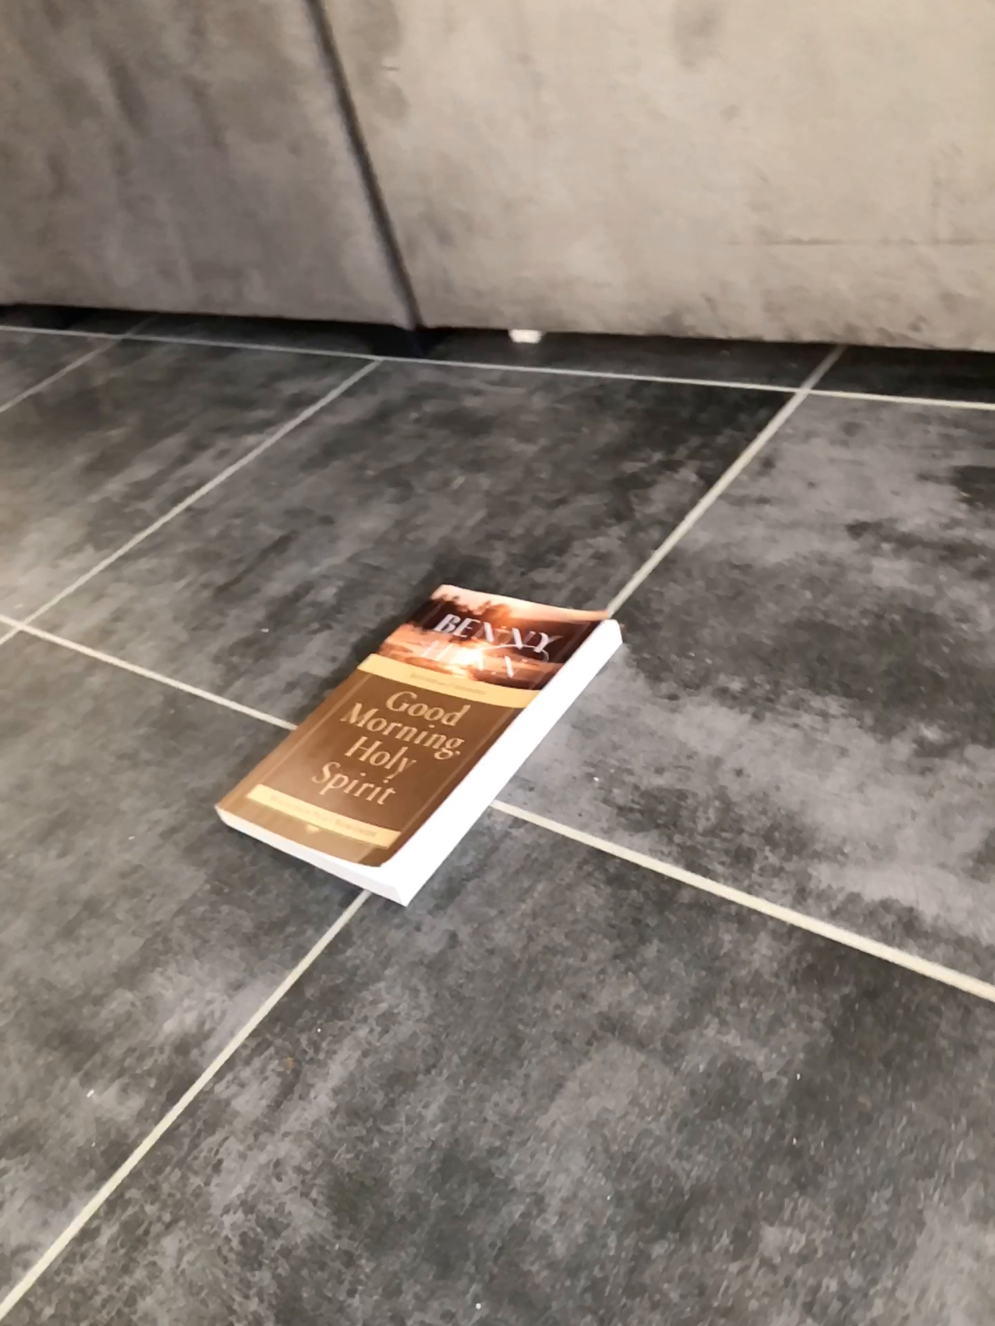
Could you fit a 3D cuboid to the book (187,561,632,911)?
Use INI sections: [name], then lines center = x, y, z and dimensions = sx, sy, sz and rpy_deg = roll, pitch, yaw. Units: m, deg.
[book]
center = -0.045, 0.026, 0.632
dimensions = 0.150, 0.020, 0.231
rpy_deg = 14, 48, 36
